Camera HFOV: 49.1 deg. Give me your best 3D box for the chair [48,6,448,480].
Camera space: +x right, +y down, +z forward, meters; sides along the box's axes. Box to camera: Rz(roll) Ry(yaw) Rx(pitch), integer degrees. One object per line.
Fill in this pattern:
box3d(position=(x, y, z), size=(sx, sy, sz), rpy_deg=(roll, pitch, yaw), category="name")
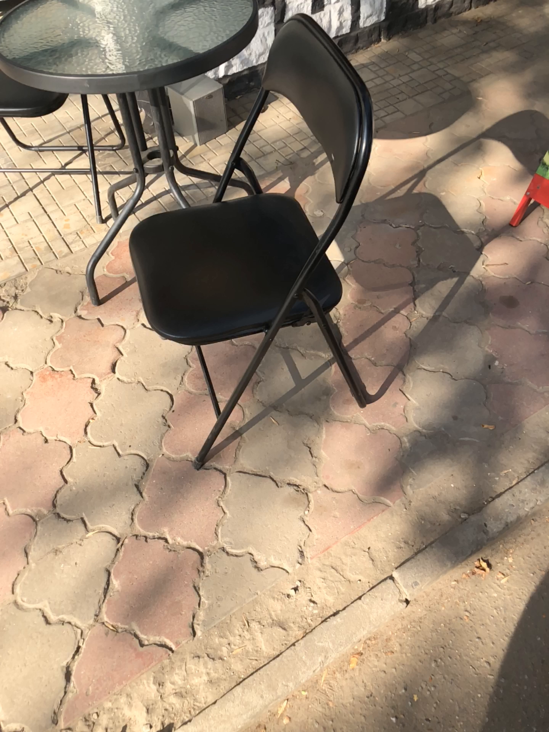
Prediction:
box3d(position=(-0.065, -0.232, 1.198), size=(0.500, 0.638, 0.532), rpy_deg=(-17, 51, -10), category="chair")
